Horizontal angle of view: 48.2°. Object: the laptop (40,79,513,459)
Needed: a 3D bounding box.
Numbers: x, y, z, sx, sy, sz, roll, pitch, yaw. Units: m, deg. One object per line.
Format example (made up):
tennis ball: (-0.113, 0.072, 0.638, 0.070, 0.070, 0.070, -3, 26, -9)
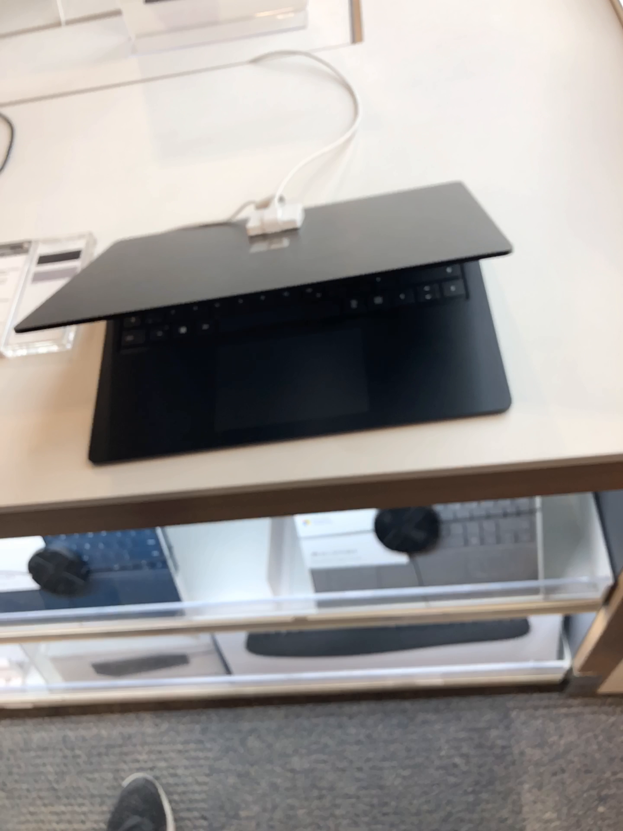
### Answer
laptop: (-0.023, -0.099, 0.485, 0.284, 0.086, 0.191, -8, 64, 6)
